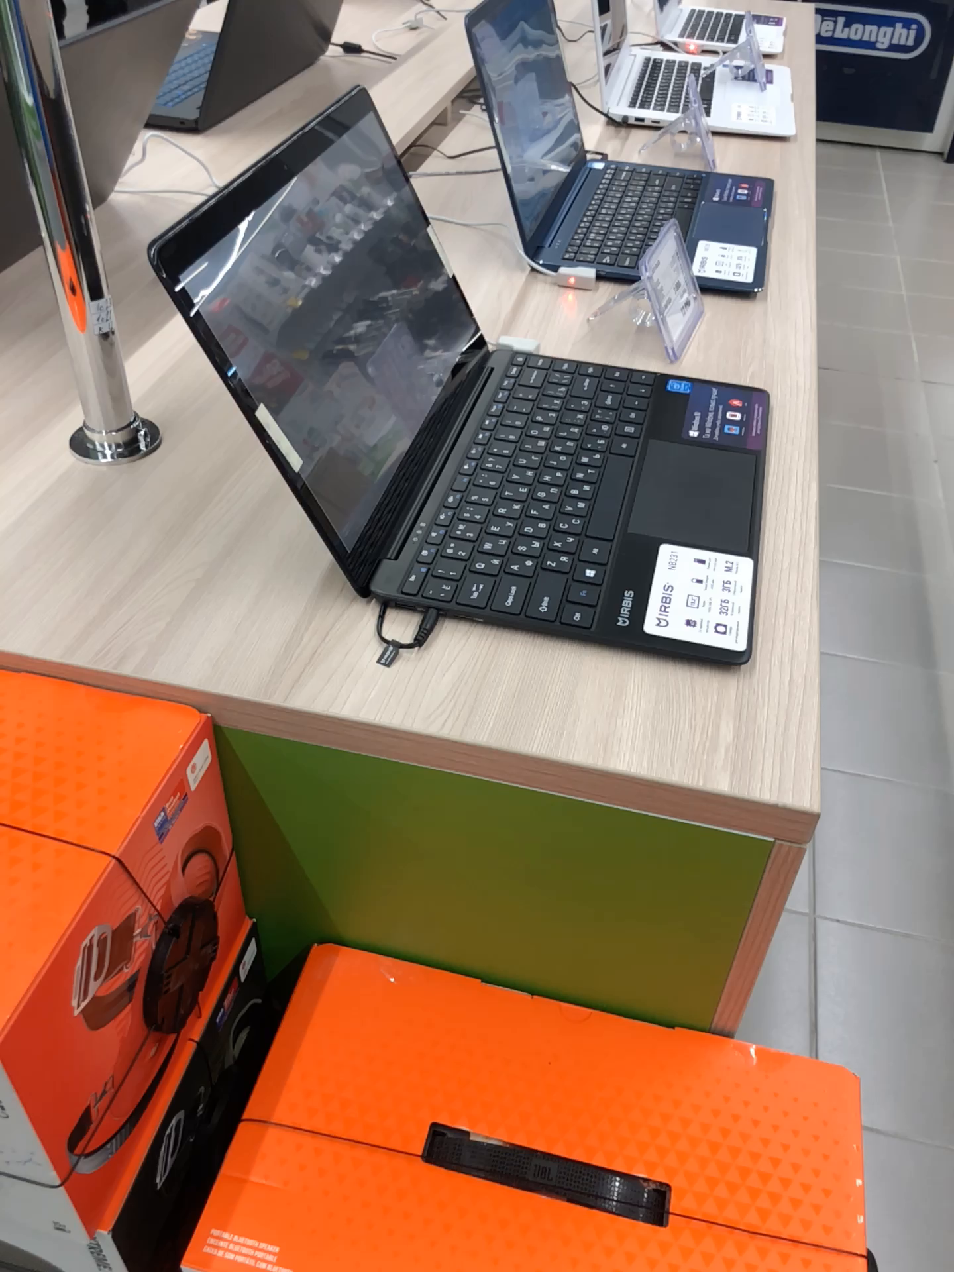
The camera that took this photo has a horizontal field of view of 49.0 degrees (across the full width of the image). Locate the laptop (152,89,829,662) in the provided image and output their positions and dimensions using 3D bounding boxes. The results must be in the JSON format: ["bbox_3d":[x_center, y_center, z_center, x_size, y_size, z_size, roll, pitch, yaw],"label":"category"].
[{"bbox_3d":[0.031,-0.178,0.628,0.306,0.172,0.306,11,41,9],"label":"laptop"}]

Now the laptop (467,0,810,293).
[{"bbox_3d":[0.157,-0.493,0.992,0.265,0.186,0.310,11,41,10],"label":"laptop"}]
